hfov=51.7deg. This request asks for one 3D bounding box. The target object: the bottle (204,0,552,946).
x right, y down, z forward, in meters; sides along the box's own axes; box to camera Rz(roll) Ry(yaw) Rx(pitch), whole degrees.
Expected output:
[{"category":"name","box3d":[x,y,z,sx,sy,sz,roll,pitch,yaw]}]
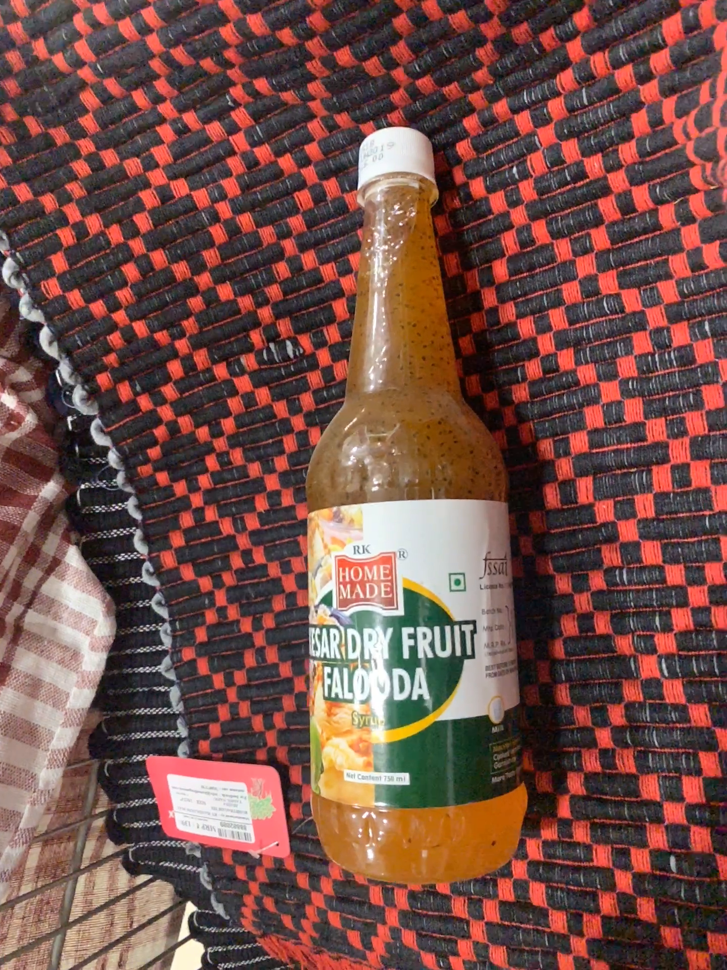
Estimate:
[{"category":"bottle","box3d":[0.003,-0.009,0.251,0.080,0.070,0.260,-7,81,34]}]
